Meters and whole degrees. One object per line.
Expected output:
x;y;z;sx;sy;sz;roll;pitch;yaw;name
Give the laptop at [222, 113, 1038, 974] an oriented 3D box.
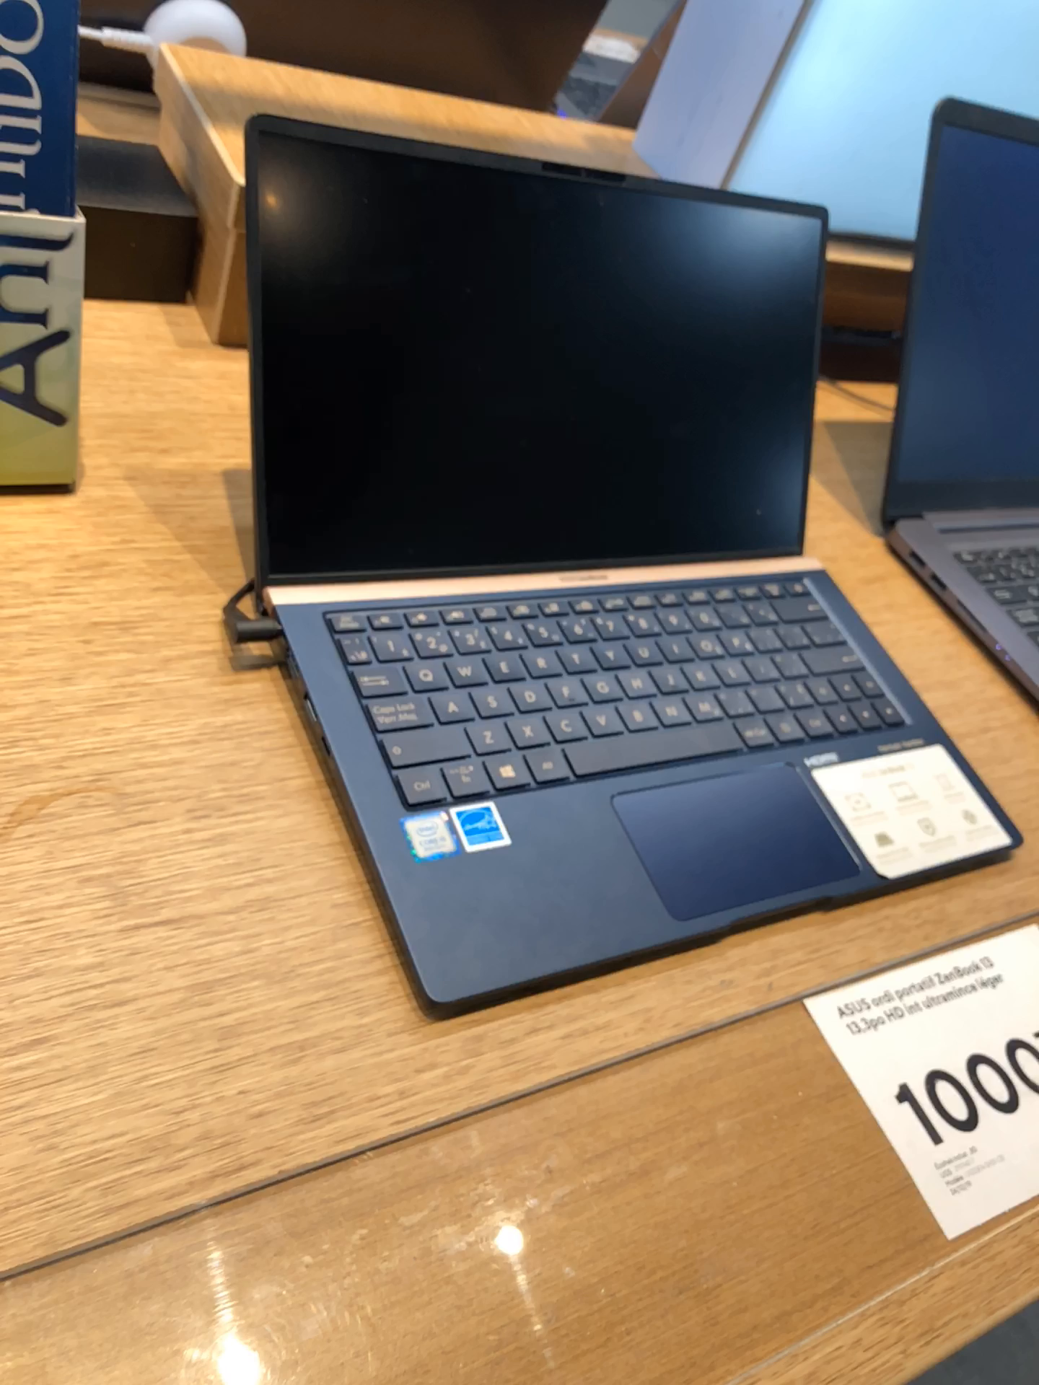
0.057;-0.079;0.464;0.276;0.130;0.276;-6;54;-30;laptop
